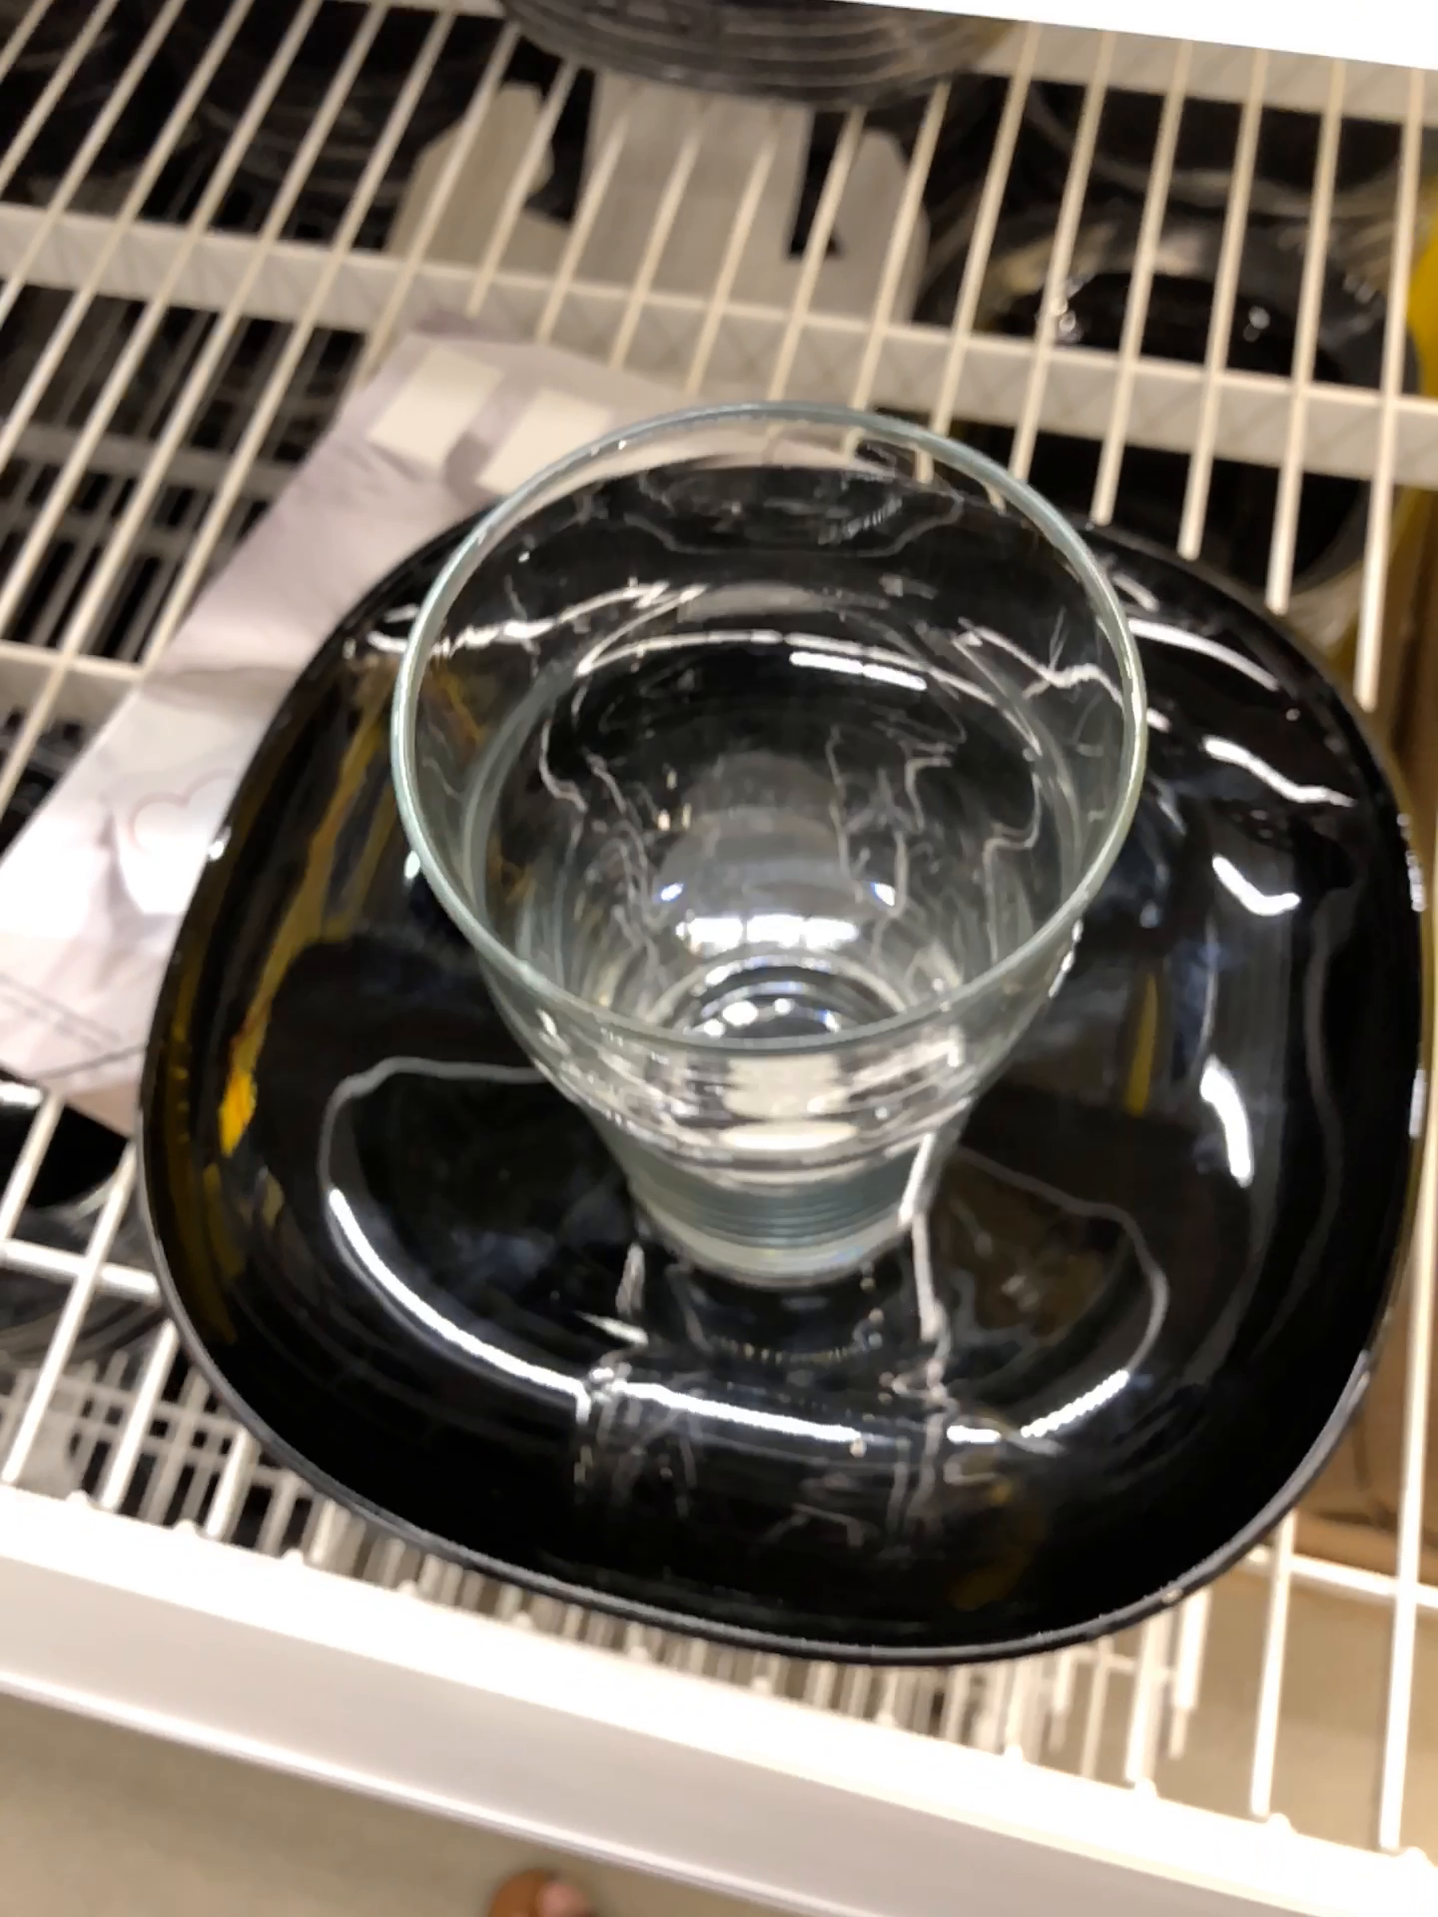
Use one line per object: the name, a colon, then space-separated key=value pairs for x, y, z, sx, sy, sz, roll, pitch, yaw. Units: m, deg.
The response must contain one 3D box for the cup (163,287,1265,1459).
cup: x=0.003 y=0.000 z=0.245 sx=0.090 sy=0.140 sz=0.090 roll=-1 pitch=63 yaw=2
